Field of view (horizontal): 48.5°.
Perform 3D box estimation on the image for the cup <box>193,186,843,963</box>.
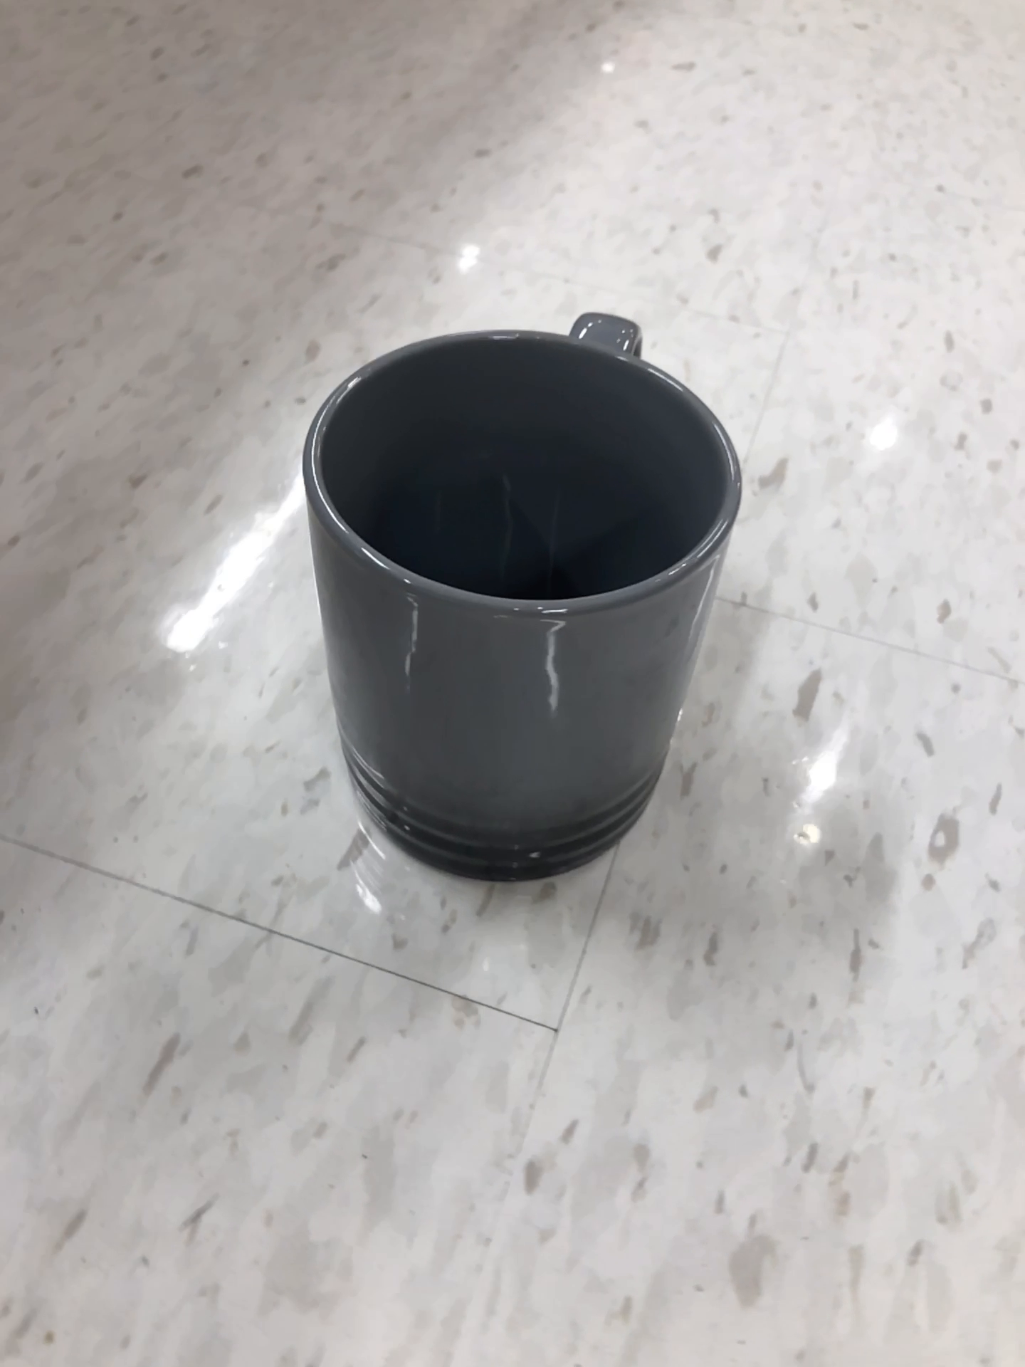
[{"bbox_3d":[0.009,-0.033,0.277,0.100,0.090,0.151,16,51,8],"label":"cup"}]
